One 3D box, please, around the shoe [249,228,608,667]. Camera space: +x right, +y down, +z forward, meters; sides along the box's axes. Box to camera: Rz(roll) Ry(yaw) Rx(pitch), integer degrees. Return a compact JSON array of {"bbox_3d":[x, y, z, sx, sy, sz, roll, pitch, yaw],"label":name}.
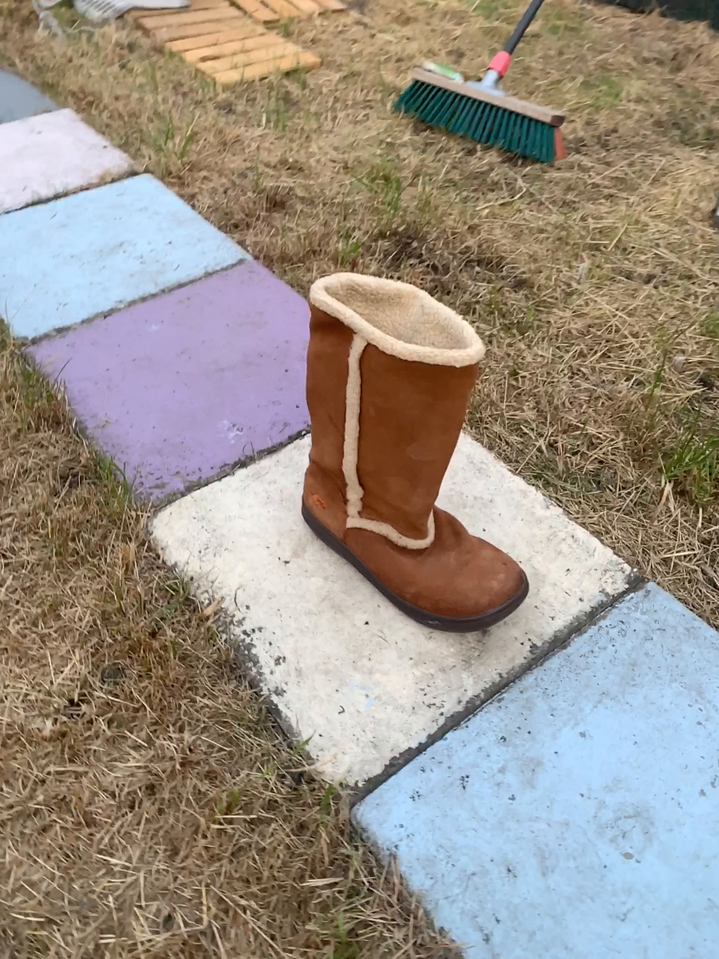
[{"bbox_3d":[0.043,-0.025,0.659,0.261,0.297,0.111,33,53,29],"label":"shoe"}]
